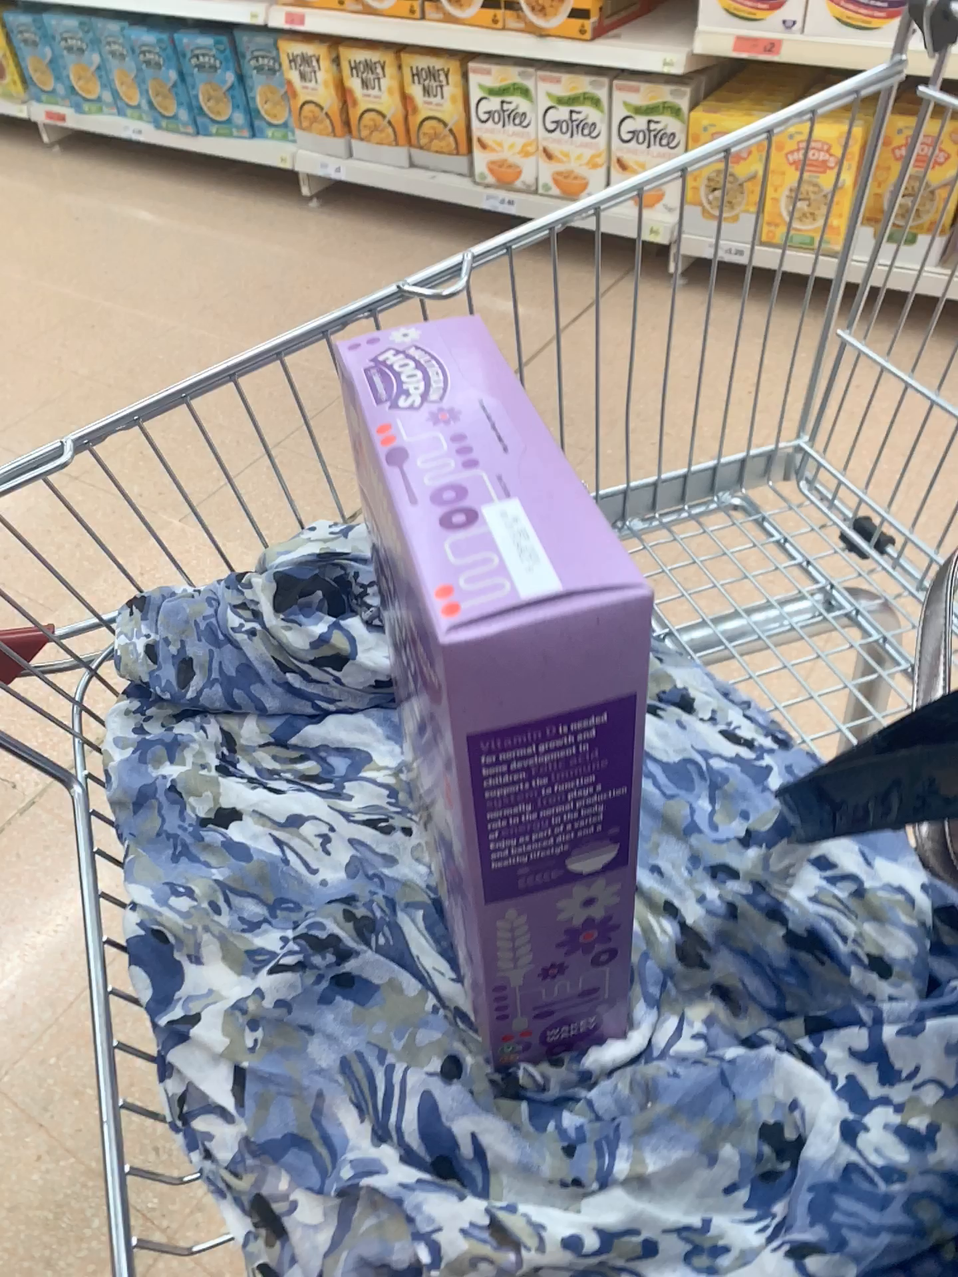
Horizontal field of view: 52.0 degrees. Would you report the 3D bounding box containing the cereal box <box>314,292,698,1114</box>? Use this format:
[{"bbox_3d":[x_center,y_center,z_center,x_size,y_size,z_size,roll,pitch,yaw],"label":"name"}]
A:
[{"bbox_3d":[0.002,0.031,0.415,0.070,0.267,0.212,-13,43,-9],"label":"cereal box"}]
